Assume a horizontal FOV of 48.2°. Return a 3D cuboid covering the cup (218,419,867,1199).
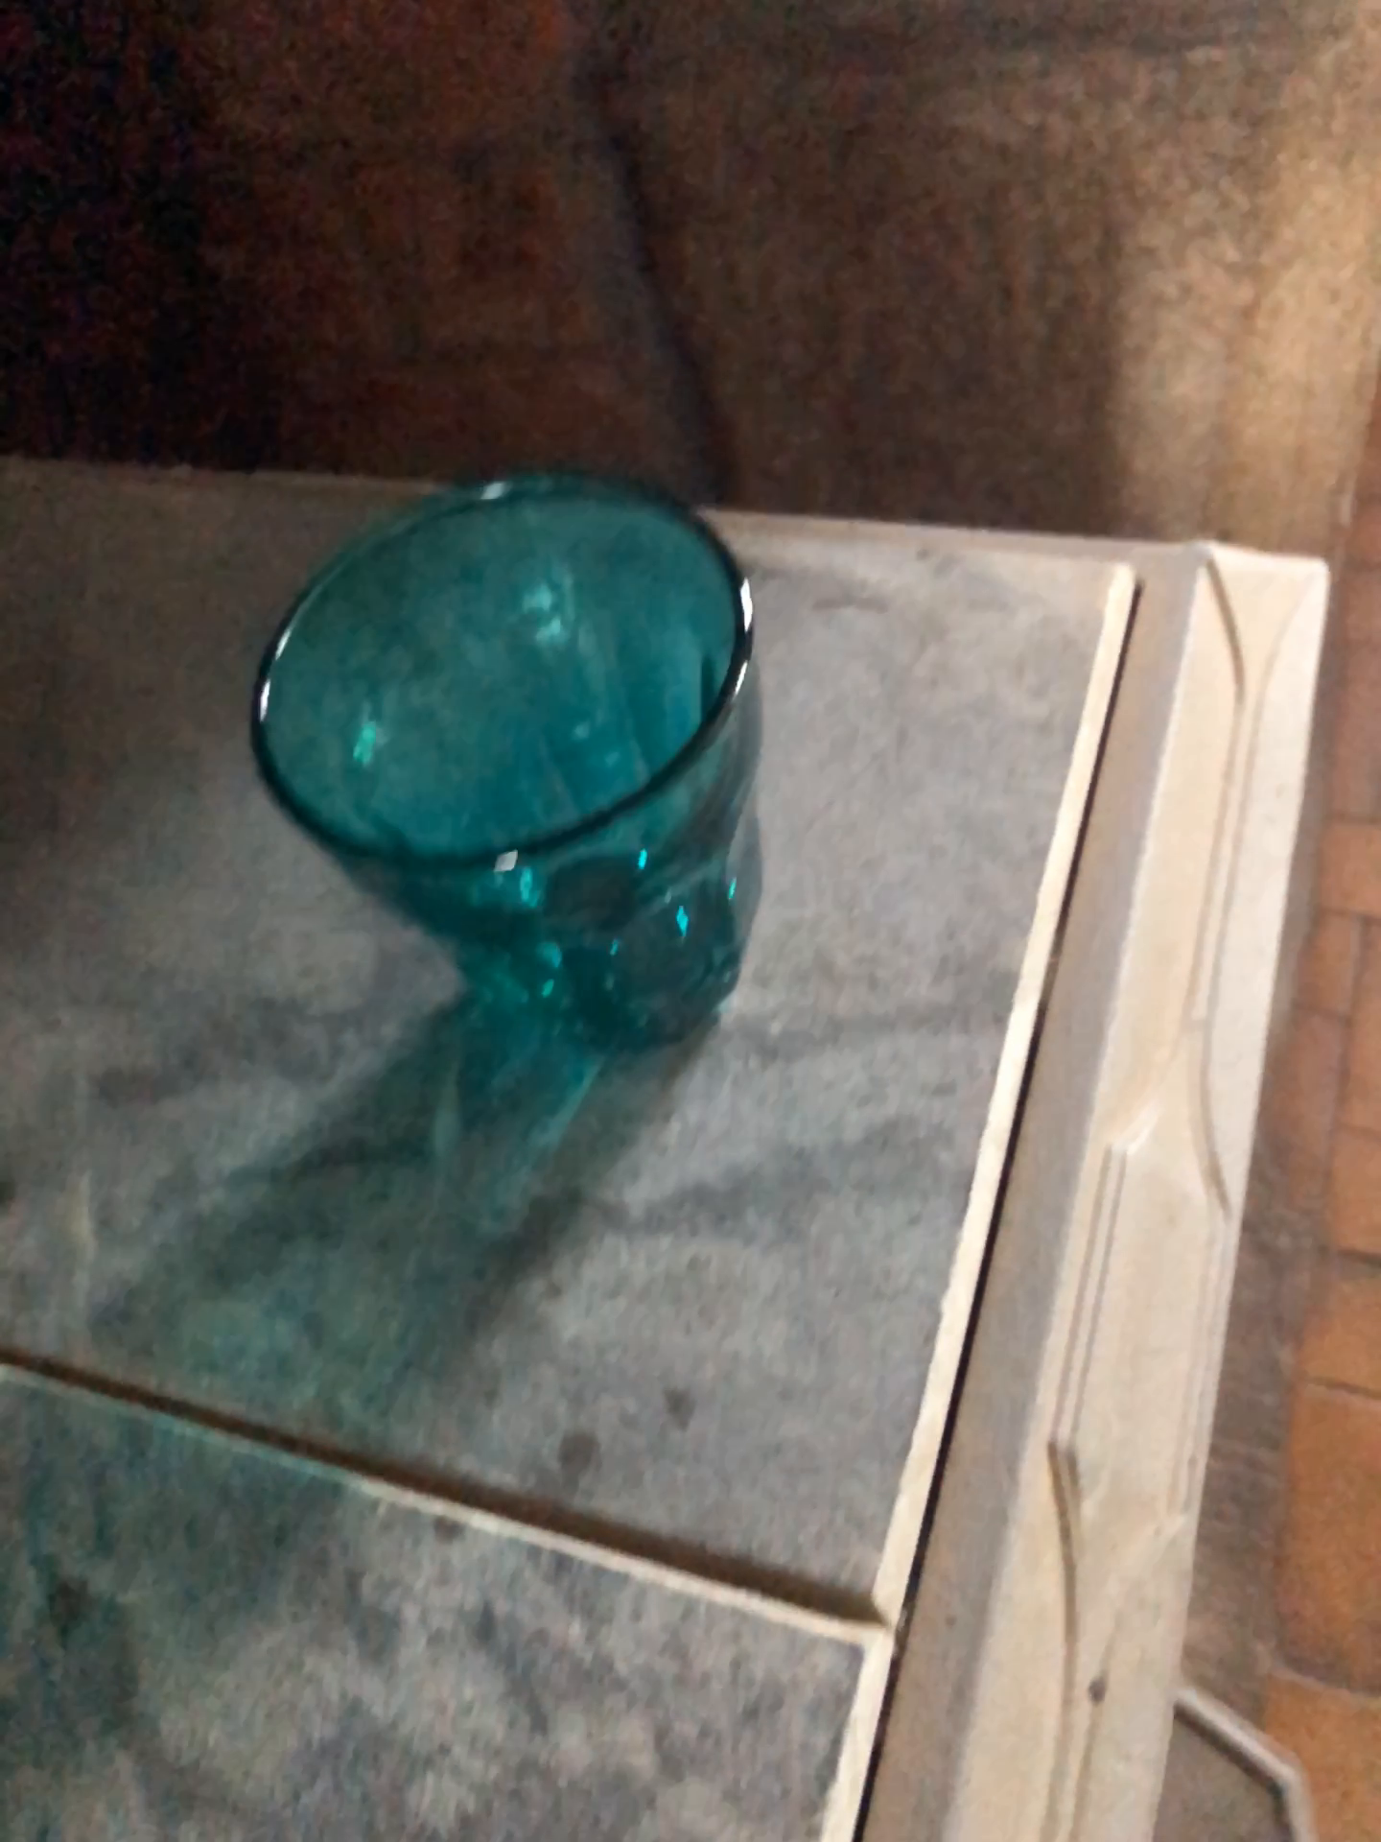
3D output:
[{"bbox_3d":[-0.020,-0.014,0.239,0.070,0.080,0.070,-6,57,9],"label":"cup"}]
